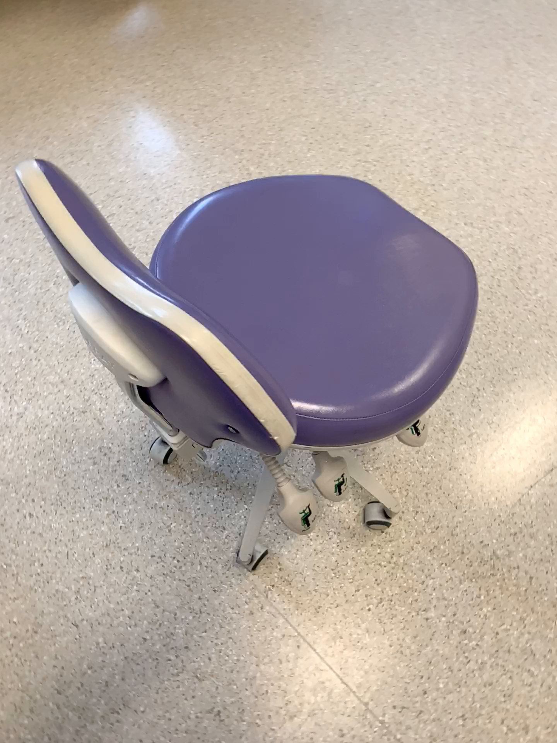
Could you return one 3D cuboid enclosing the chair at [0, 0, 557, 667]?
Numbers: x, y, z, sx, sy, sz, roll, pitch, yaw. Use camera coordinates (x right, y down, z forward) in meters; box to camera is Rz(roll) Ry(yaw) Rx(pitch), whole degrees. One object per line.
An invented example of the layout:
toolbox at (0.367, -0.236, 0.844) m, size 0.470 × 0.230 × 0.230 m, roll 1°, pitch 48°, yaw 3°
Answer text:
chair at (0.065, -0.077, 0.820) m, size 0.652 × 0.825 × 0.602 m, roll -41°, pitch 70°, yaw -20°
